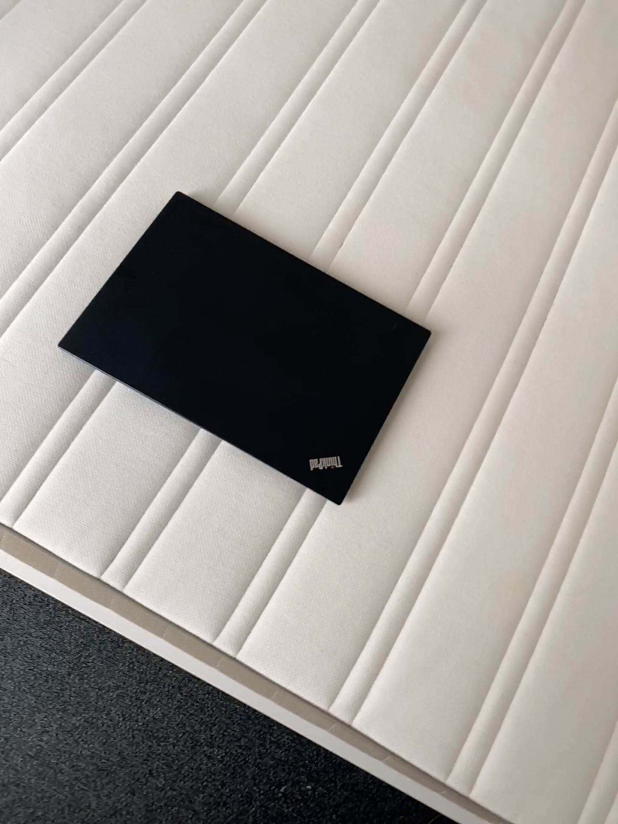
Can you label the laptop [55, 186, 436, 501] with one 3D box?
[{"bbox_3d":[-0.056,-0.083,0.663,0.325,0.012,0.226,29,68,2],"label":"laptop"}]
